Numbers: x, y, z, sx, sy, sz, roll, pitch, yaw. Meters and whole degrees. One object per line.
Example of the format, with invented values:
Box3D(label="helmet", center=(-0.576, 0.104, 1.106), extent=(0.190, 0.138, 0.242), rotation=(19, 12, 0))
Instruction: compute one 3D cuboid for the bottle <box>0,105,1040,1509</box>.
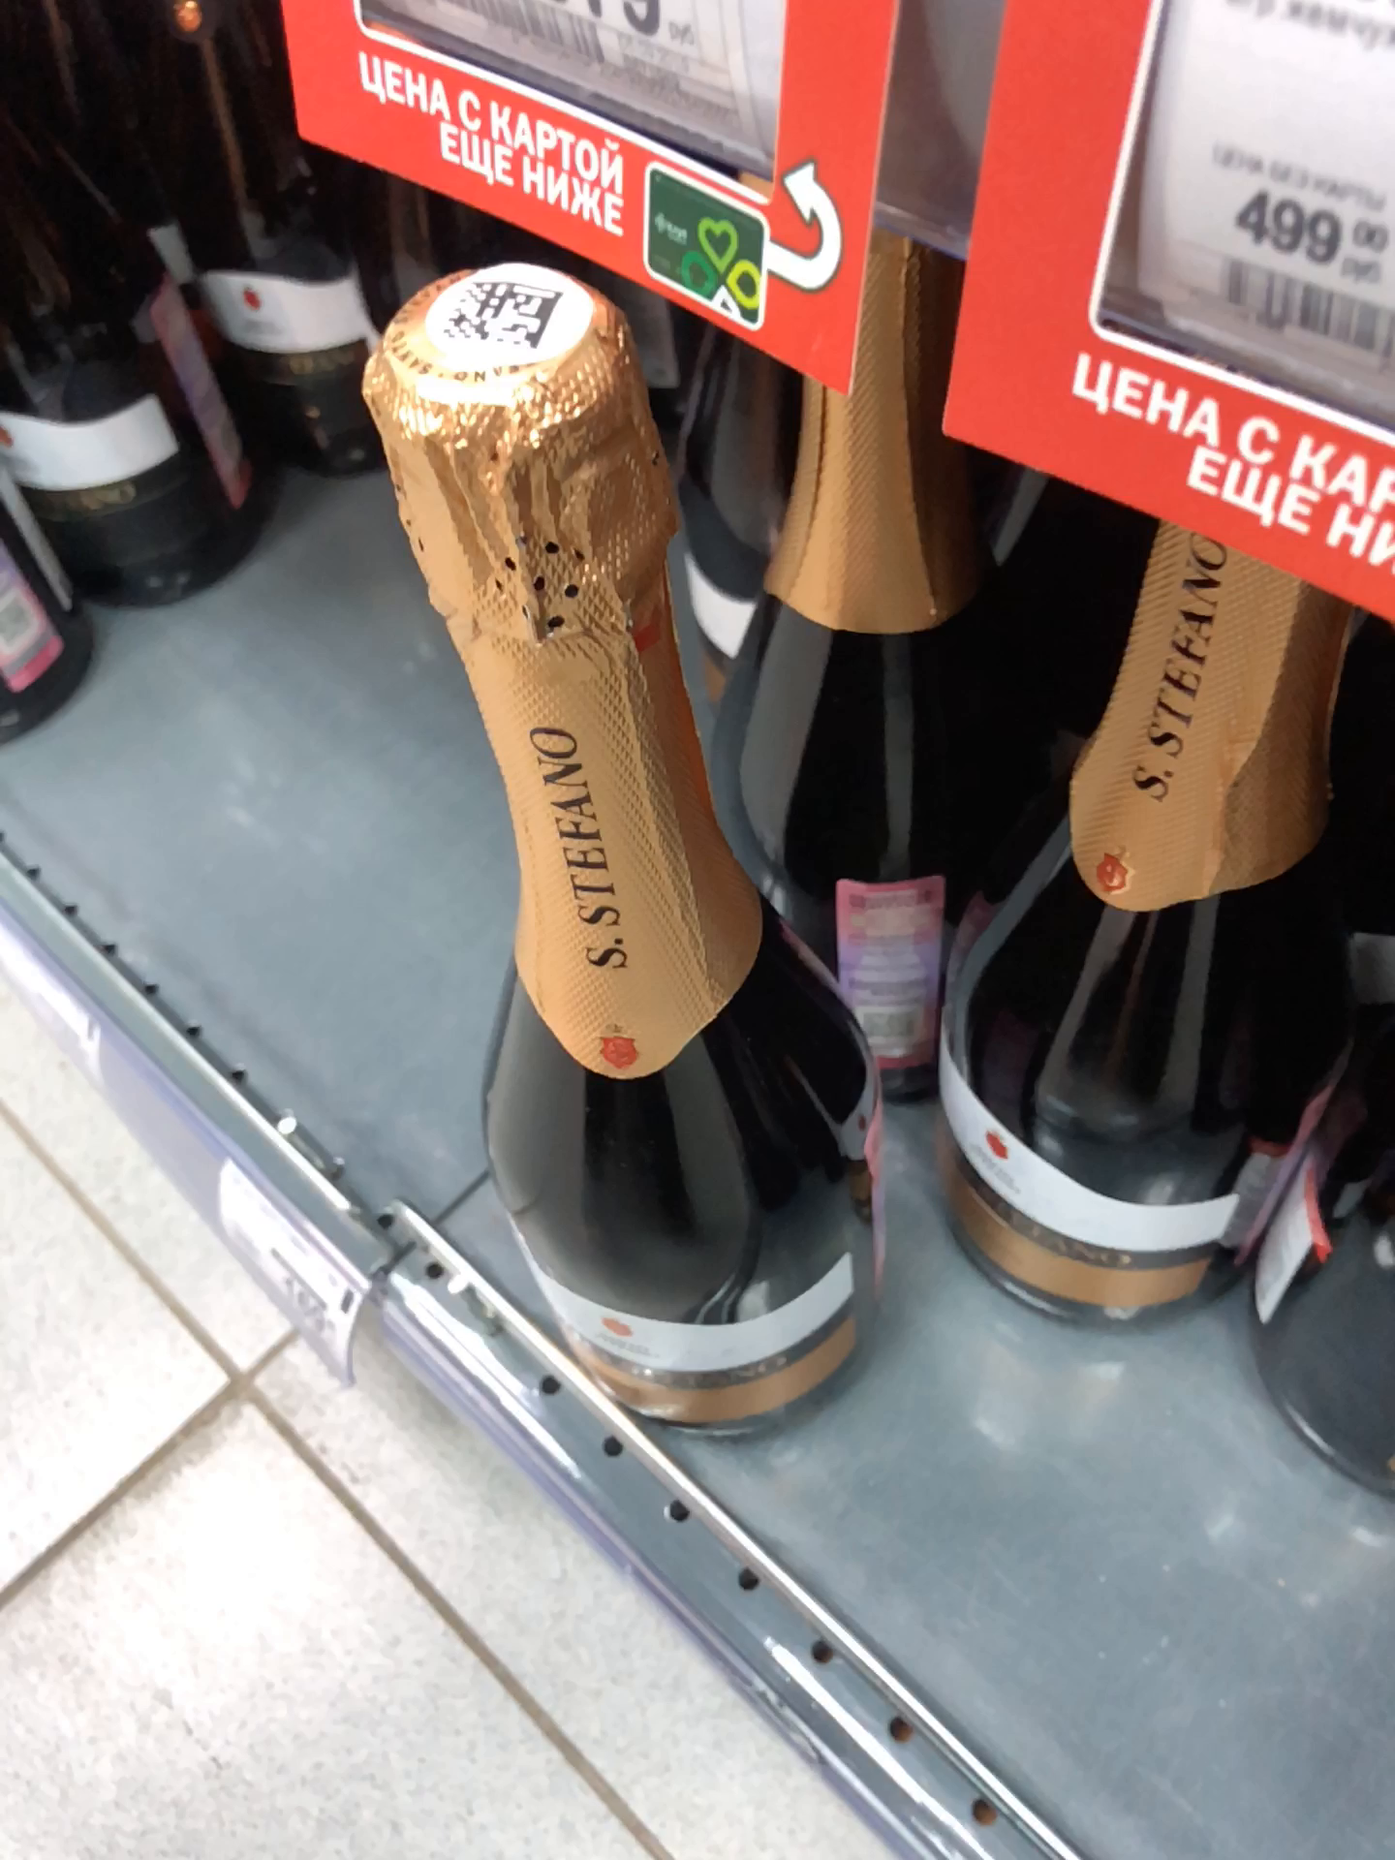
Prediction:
Box3D(label="bottle", center=(-0.004, 0.014, 0.308), extent=(0.100, 0.299, 0.090), rotation=(14, 58, 16))
